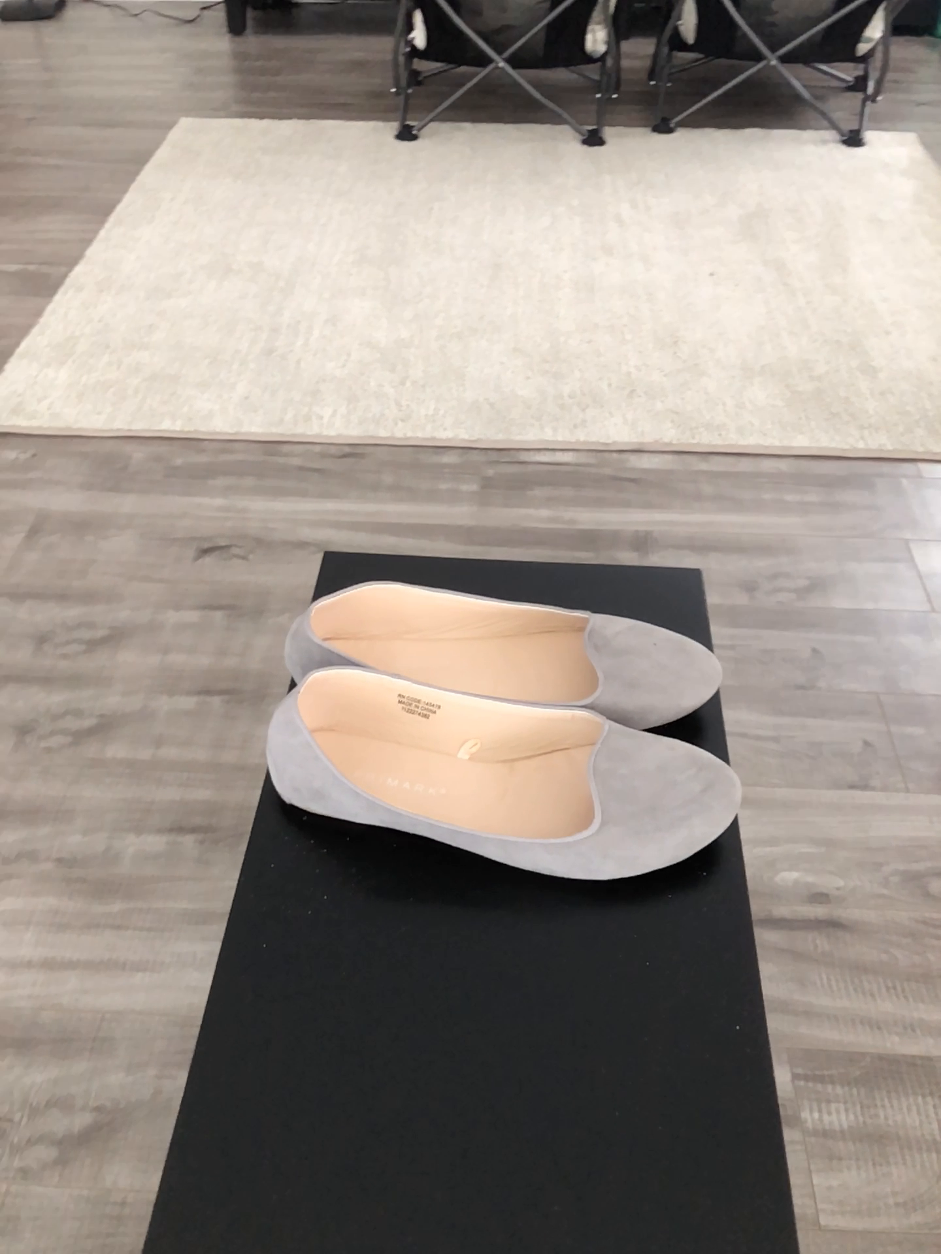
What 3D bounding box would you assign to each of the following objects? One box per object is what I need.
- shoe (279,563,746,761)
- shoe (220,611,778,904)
[{"bbox_3d":[0.023,0.019,0.611,0.250,0.060,0.100,1,44,1],"label":"shoe"},{"bbox_3d":[0.015,0.066,0.535,0.253,0.090,0.100,3,44,4],"label":"shoe"}]
